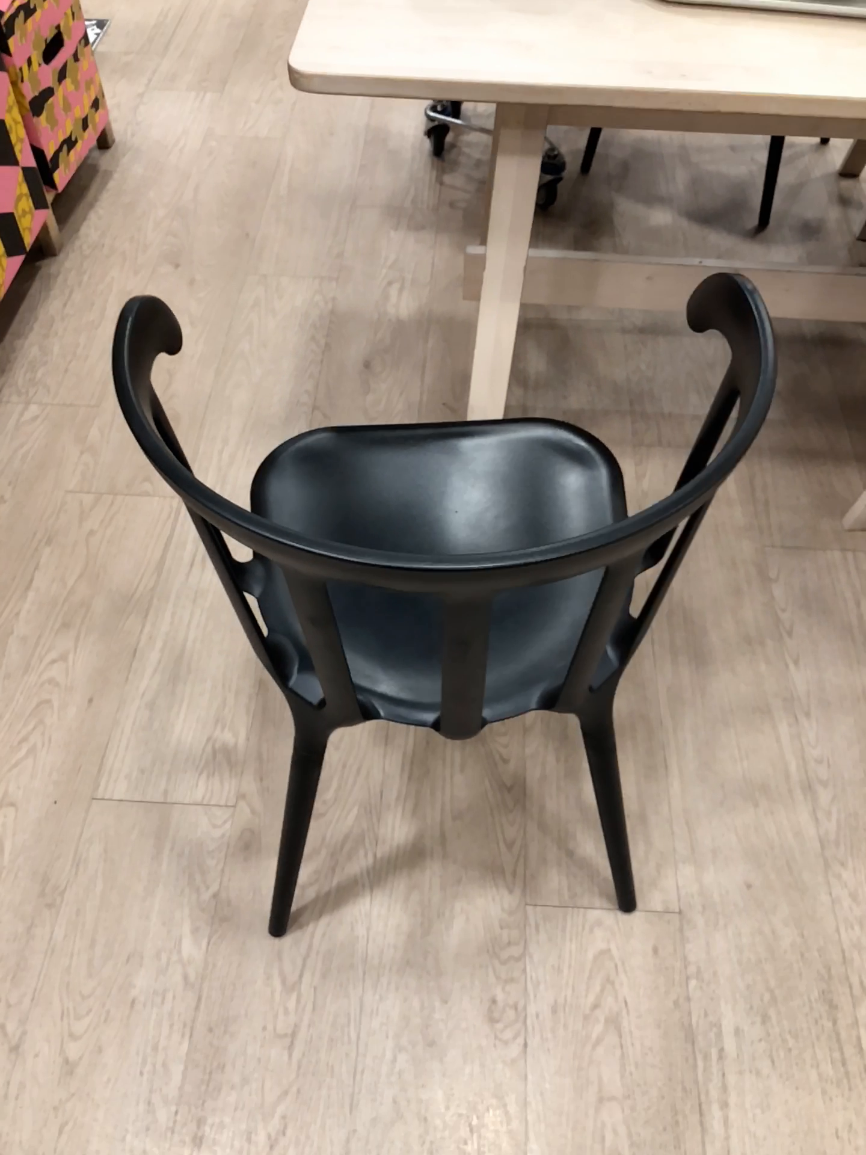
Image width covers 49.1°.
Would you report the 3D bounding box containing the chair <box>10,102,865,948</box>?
[{"bbox_3d":[0.008,-0.008,0.978,0.530,0.686,0.533,-3,53,-2],"label":"chair"}]
